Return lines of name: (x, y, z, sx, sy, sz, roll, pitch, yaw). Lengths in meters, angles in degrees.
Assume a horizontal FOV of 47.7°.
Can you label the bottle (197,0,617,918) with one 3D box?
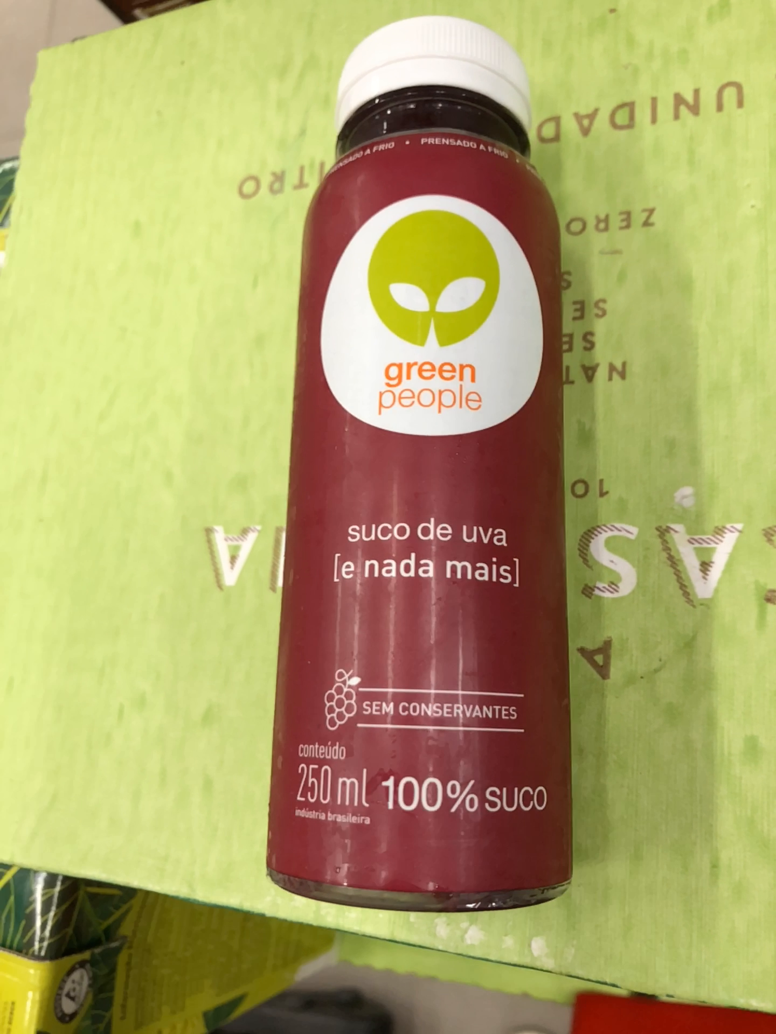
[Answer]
bottle: (0.005, -0.021, 0.172, 0.060, 0.060, 0.170, 2, 78, 0)
